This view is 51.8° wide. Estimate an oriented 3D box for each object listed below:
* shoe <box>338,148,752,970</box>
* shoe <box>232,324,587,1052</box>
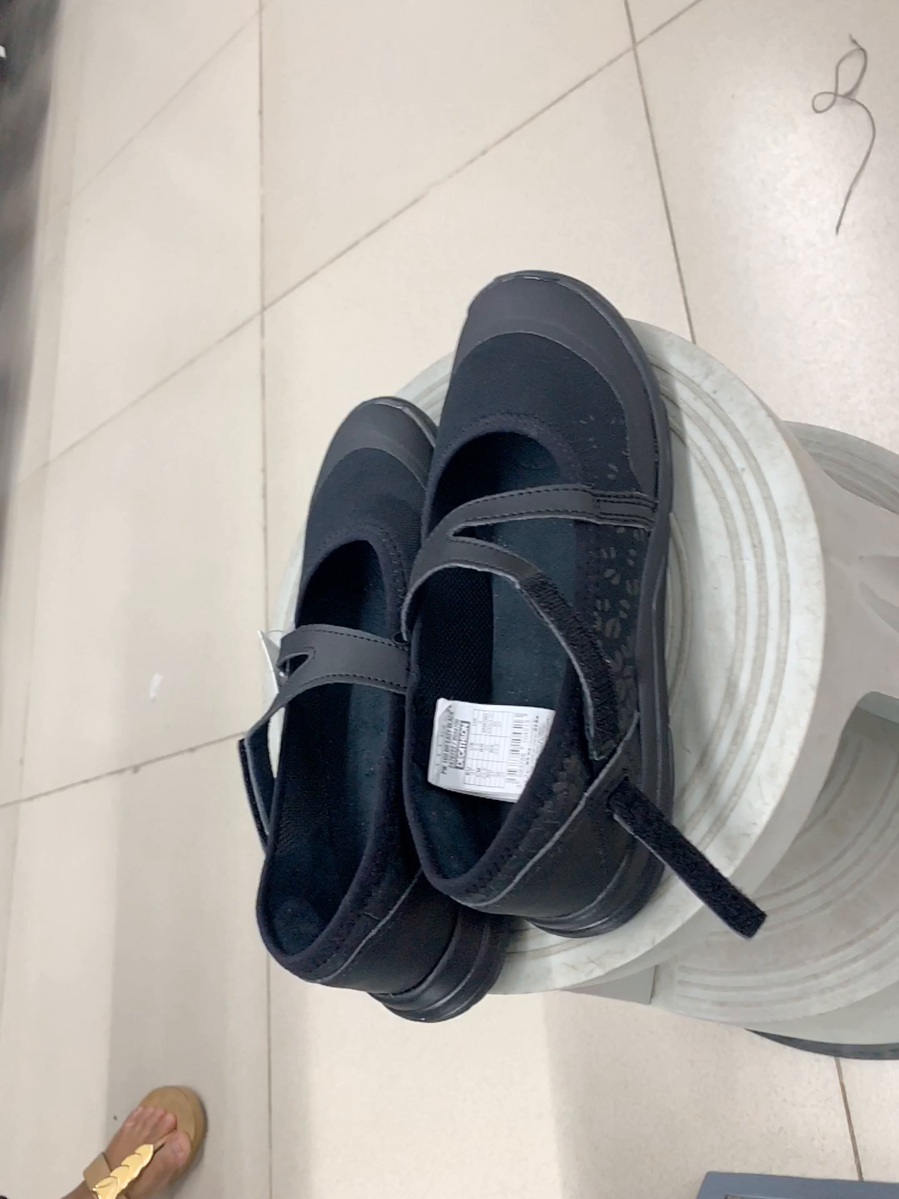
[{"bbox_3d":[0.027,-0.009,0.324,0.101,0.080,0.250,-15,68,38],"label":"shoe"},{"bbox_3d":[-0.024,0.033,0.363,0.090,0.080,0.250,-22,64,35],"label":"shoe"}]
